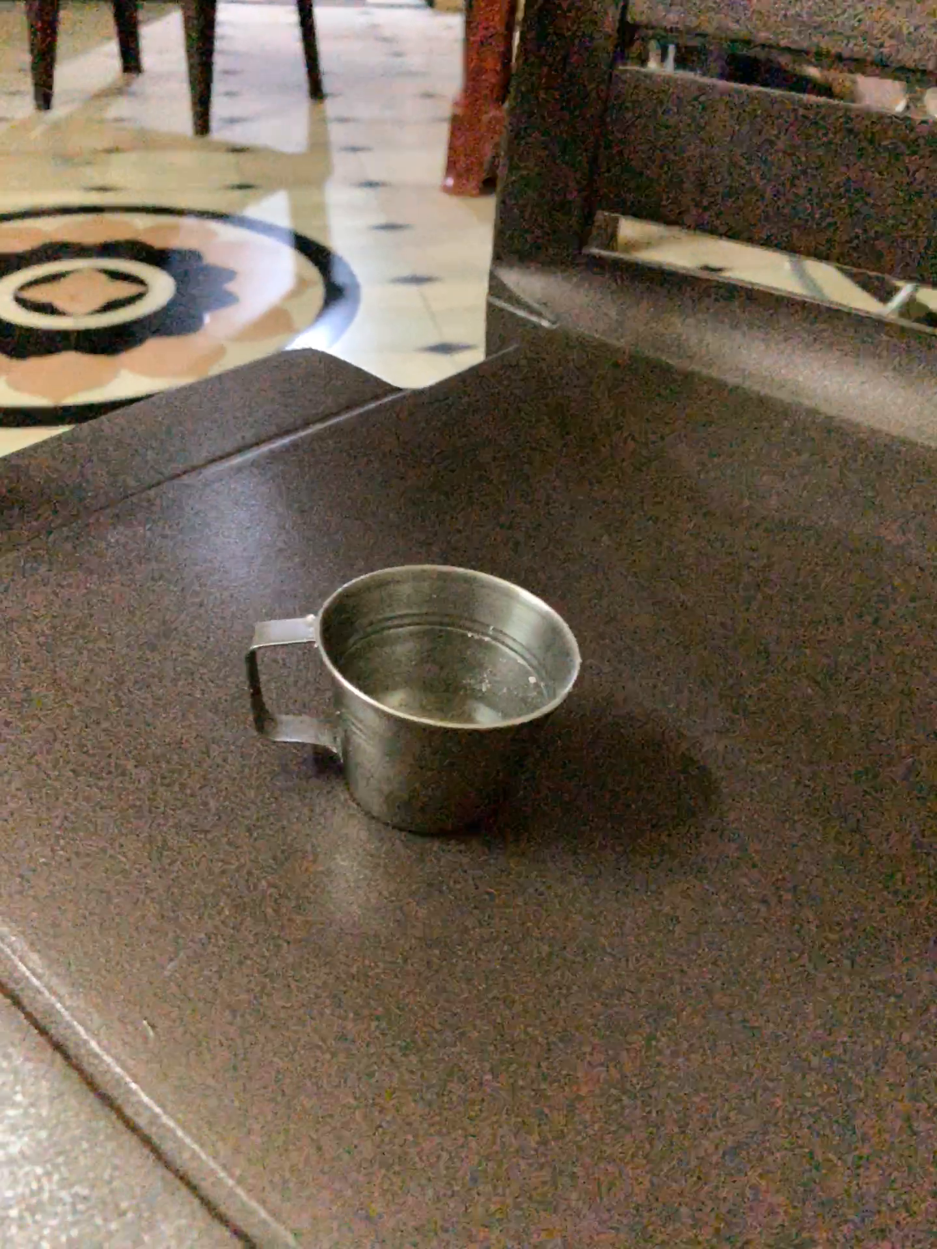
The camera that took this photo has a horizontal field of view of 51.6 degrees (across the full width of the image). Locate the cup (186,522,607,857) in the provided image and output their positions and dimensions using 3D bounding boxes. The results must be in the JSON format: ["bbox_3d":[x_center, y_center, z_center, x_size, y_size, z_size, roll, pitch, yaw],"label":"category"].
[{"bbox_3d":[-0.016,0.013,0.220,0.080,0.040,0.060,4,40,-5],"label":"cup"}]
